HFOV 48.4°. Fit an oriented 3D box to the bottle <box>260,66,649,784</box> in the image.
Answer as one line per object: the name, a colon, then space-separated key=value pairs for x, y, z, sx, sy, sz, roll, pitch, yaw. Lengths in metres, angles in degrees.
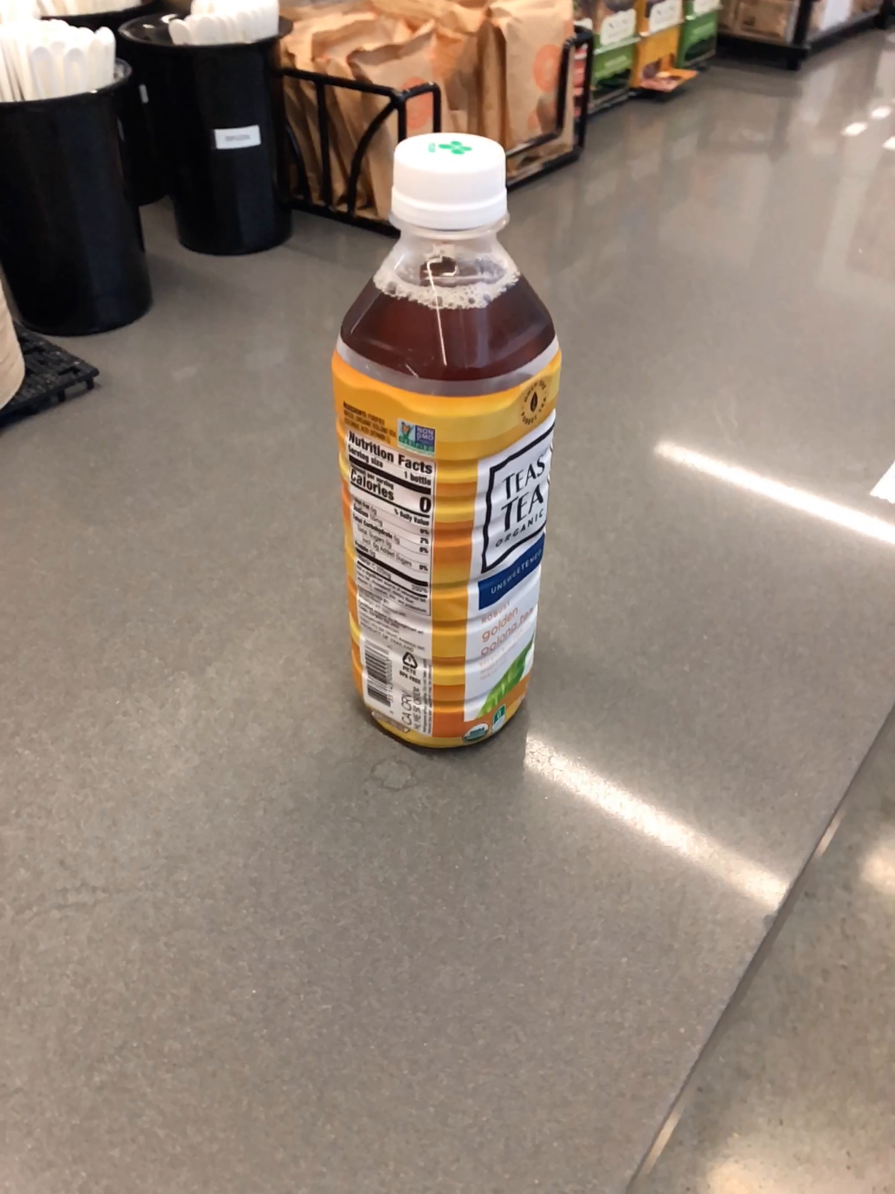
bottle: x=0.003 y=-0.044 z=0.311 sx=0.070 sy=0.199 sz=0.070 roll=0 pitch=40 yaw=0
